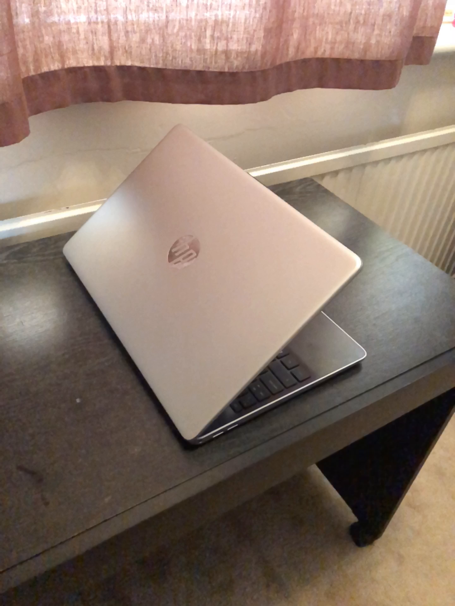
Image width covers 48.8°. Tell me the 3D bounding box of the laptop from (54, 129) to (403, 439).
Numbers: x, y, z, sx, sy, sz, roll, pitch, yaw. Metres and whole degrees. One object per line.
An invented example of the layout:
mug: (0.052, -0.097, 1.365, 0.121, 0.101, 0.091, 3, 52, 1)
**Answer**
laptop: (-0.022, -0.063, 0.602, 0.237, 0.141, 0.362, -19, 45, -29)
